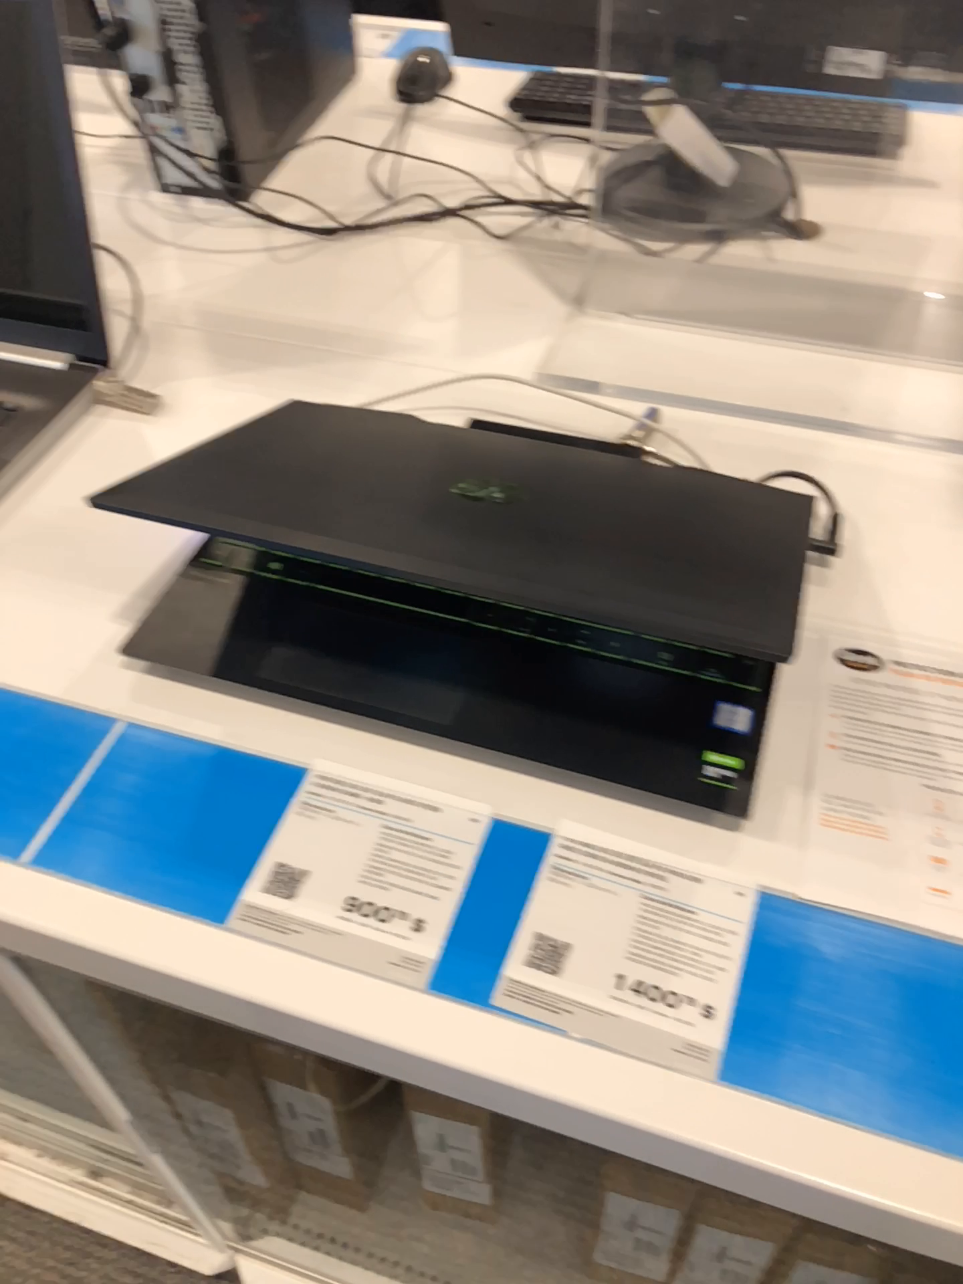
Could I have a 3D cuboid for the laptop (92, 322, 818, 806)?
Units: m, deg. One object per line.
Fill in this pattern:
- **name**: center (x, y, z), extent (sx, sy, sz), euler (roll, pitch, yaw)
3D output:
- **laptop**: center (-0.005, -0.062, 0.602), extent (0.339, 0.064, 0.222), euler (13, 54, 13)
